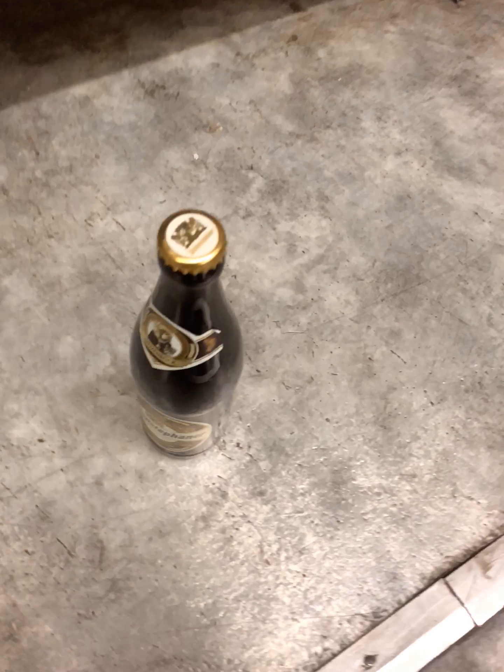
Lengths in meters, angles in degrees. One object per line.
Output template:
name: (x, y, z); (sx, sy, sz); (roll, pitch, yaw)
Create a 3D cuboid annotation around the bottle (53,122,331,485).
bottle: (-0.034, 0.012, 0.312); (0.070, 0.249, 0.070); (3, 65, -6)
